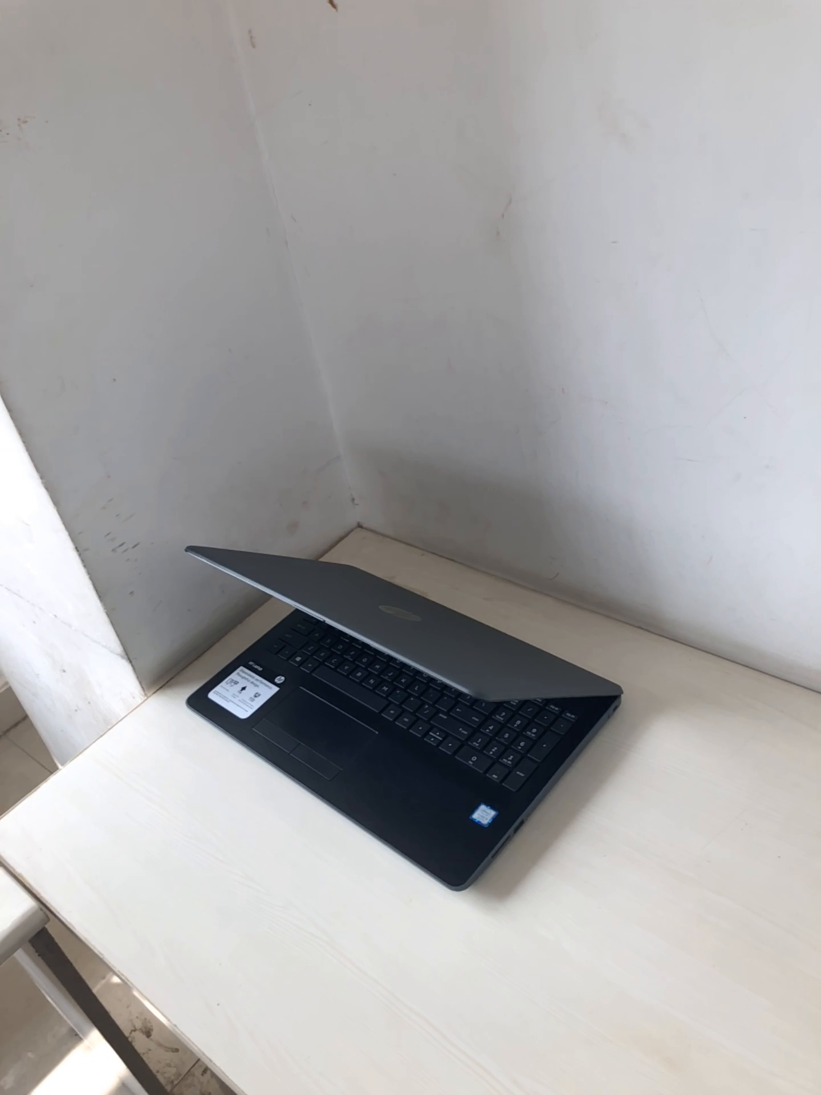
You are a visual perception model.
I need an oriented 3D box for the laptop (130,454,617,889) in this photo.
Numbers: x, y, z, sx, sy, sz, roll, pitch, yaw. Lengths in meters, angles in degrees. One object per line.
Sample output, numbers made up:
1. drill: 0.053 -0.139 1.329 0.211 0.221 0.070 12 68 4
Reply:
1. laptop: -0.031 0.083 0.833 0.356 0.157 0.245 22 46 36
